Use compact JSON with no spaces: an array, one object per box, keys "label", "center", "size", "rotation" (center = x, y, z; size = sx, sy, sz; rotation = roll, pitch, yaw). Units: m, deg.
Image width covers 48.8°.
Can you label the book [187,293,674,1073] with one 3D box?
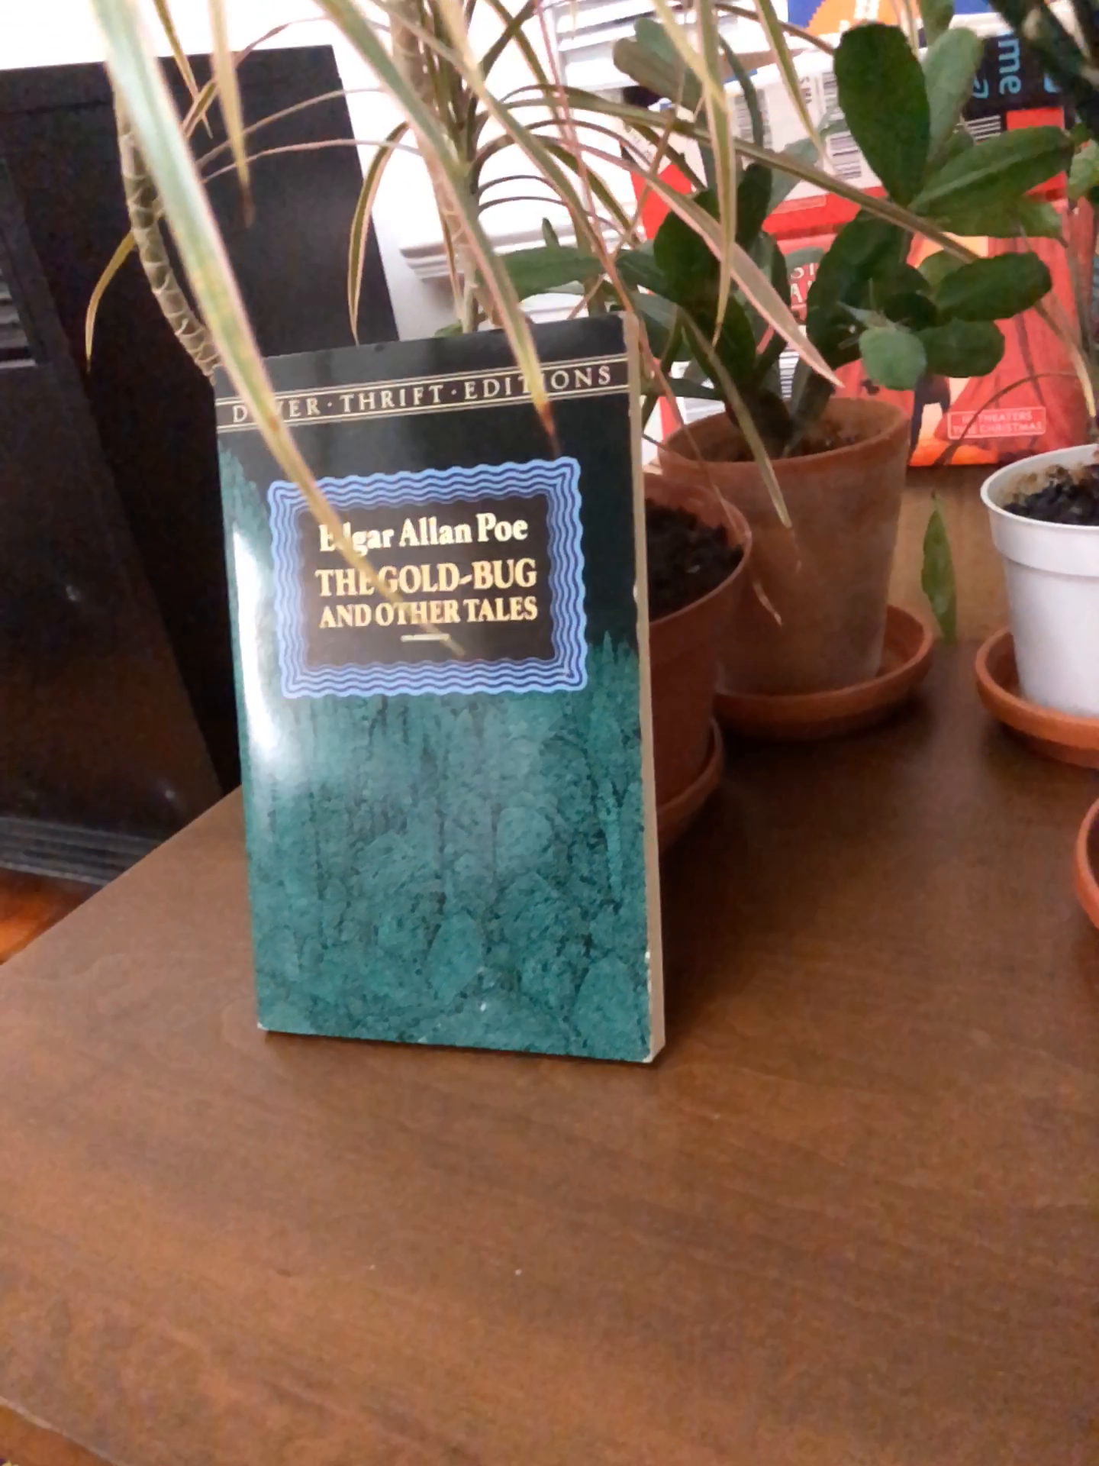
[{"label":"book","center":[-0.037,-0.012,0.360],"size":[0.140,0.210,0.020],"rotation":[-1,4,20]}]
